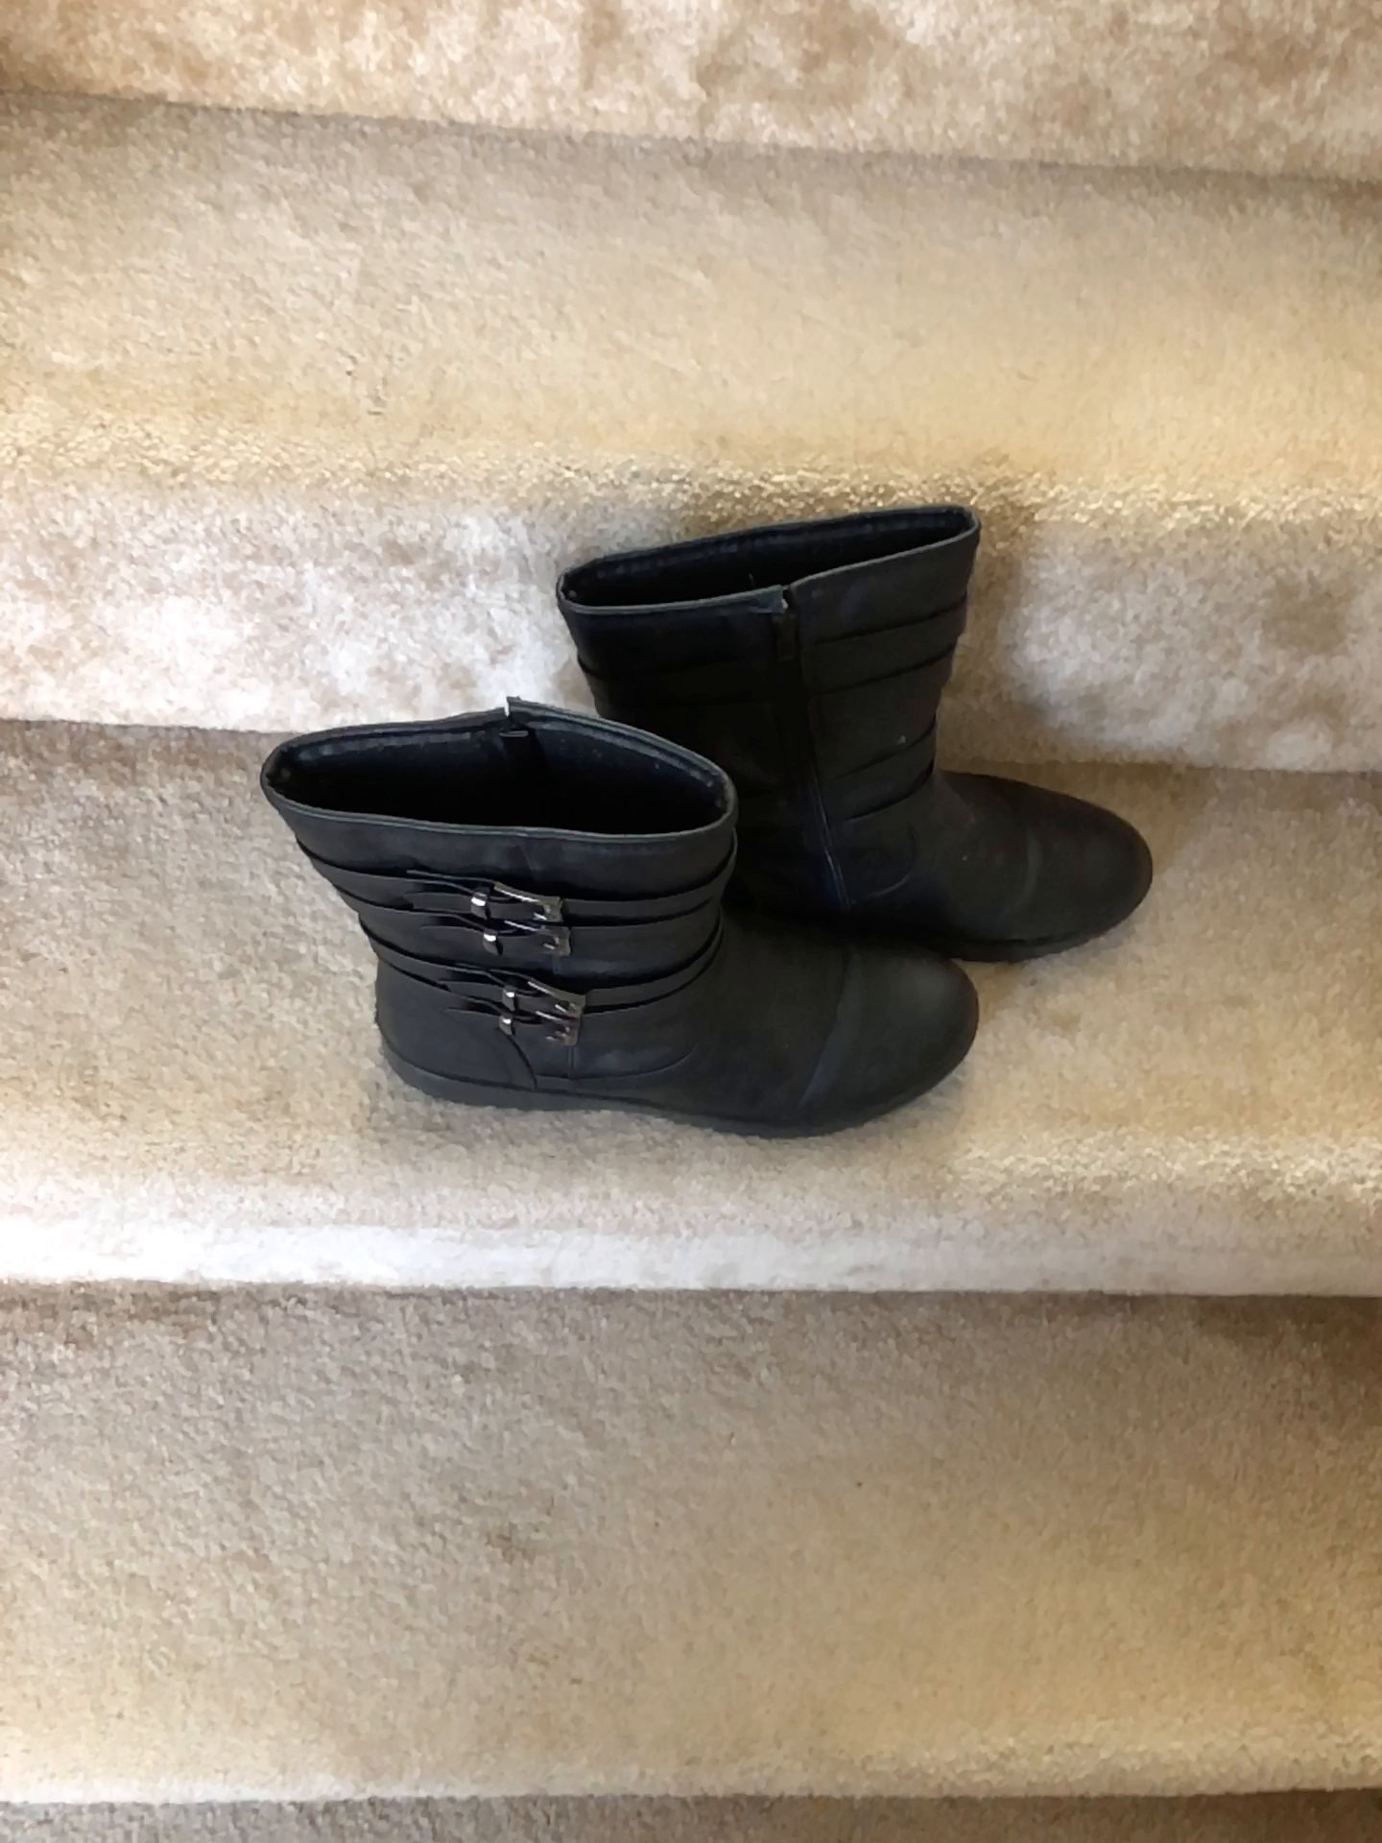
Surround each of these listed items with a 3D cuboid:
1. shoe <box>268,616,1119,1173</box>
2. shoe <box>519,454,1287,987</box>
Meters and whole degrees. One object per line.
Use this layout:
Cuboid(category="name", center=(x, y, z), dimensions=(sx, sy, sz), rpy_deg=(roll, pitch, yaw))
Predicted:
Cuboid(category="shoe", center=(-0.002, 0.001, 0.592), dimensions=(0.270, 0.199, 0.101), rpy_deg=(6, 58, -2))
Cuboid(category="shoe", center=(0.078, -0.076, 0.658), dimensions=(0.270, 0.219, 0.101), rpy_deg=(3, 58, 3))
